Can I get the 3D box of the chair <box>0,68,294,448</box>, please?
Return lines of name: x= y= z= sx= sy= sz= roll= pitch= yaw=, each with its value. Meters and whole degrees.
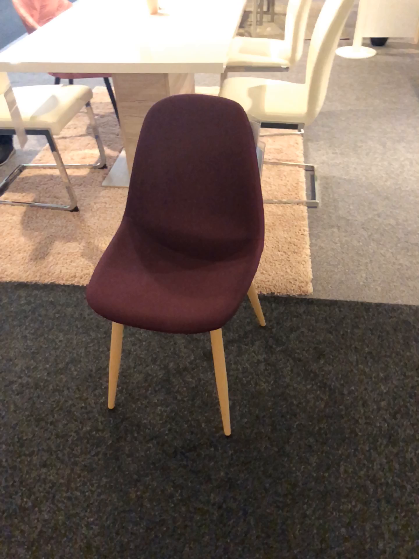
chair: x=-0.069 y=-0.058 z=1.247 sx=0.470 sy=0.796 sz=0.574 roll=8 pitch=41 yaw=11
